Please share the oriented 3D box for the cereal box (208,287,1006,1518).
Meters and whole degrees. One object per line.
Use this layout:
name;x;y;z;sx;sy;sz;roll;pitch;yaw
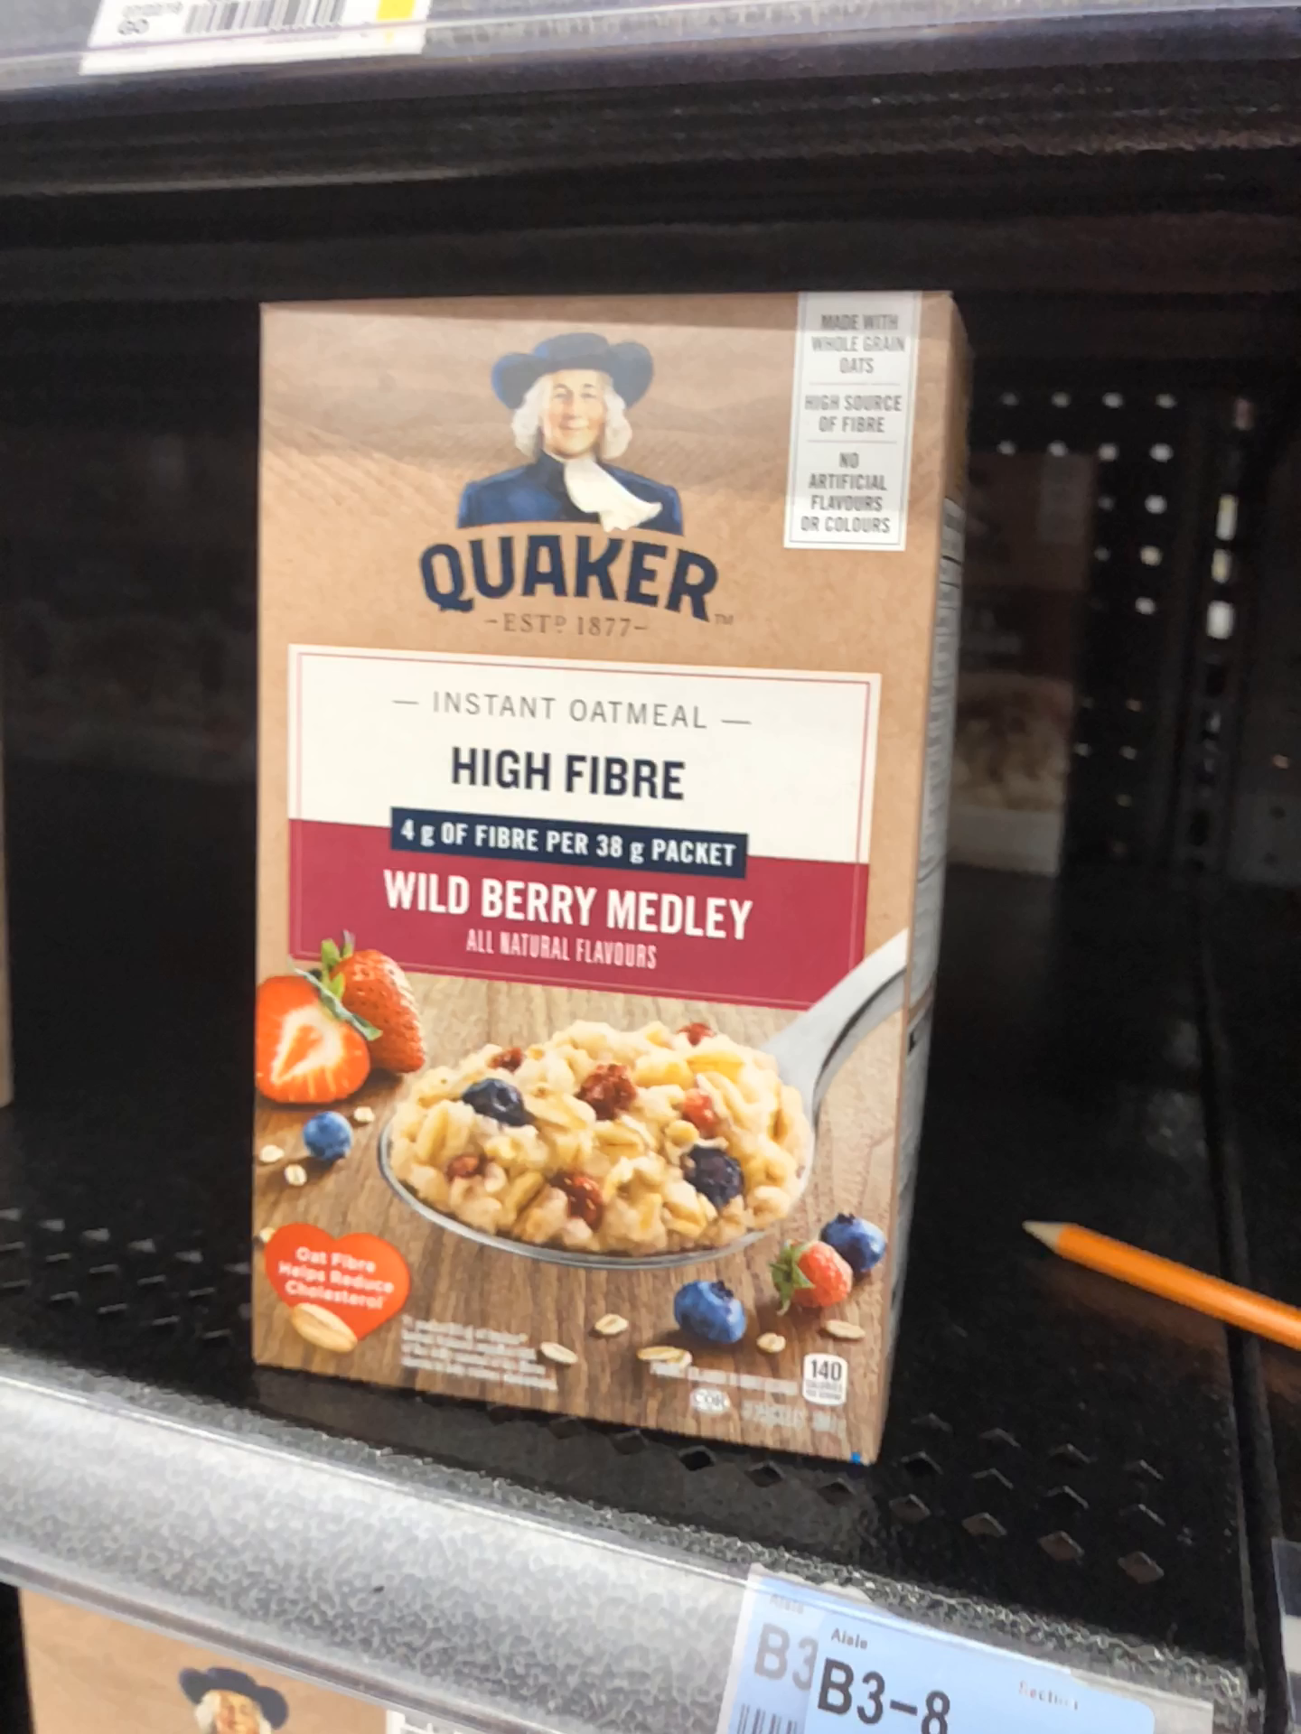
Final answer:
cereal box;-0.007;0.001;0.282;0.130;0.200;0.070;5;9;13
